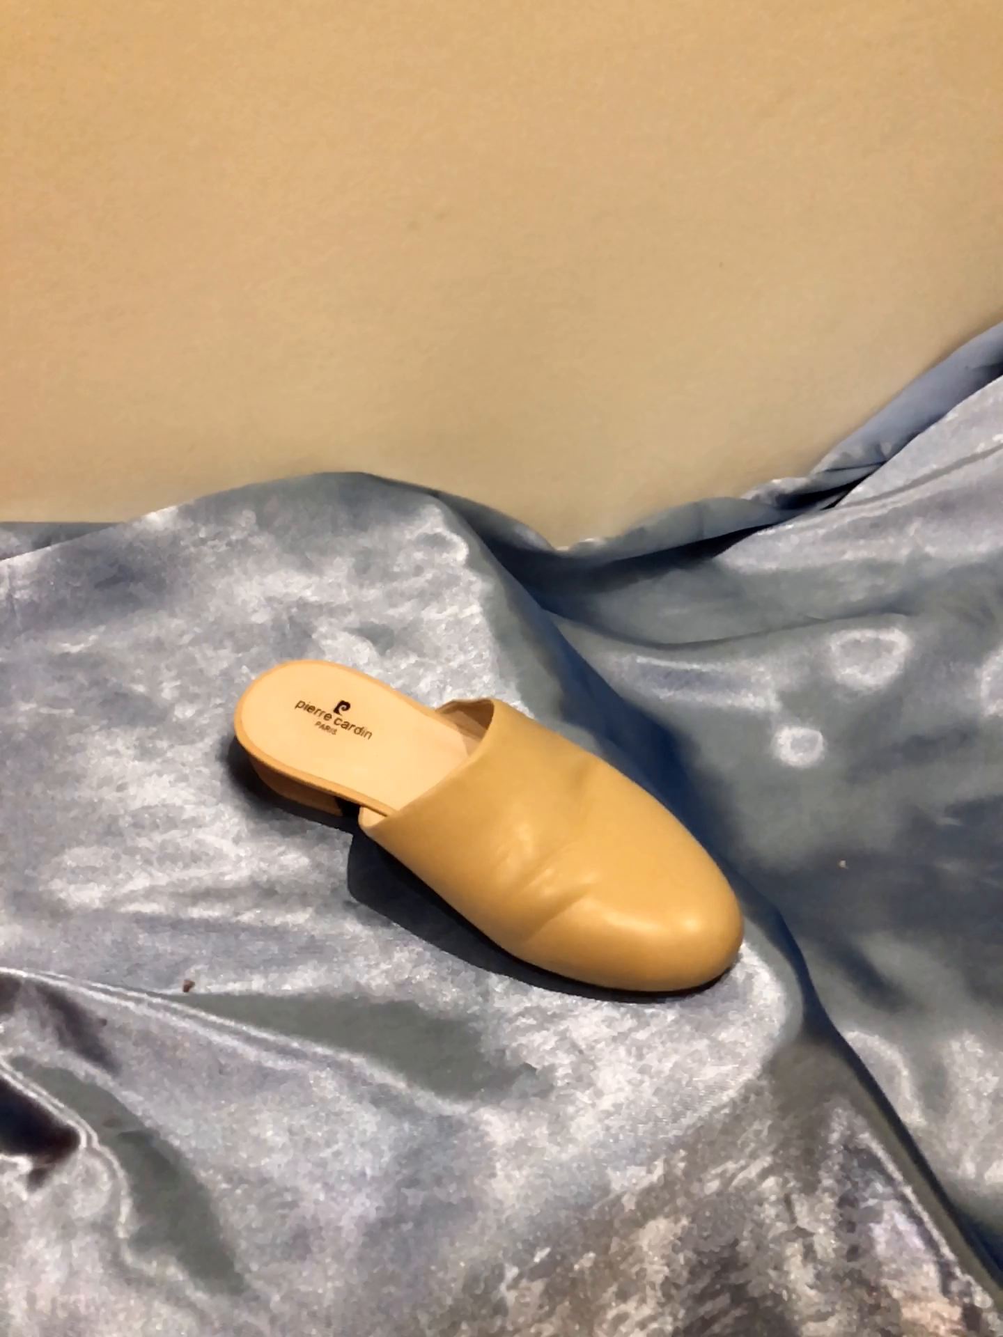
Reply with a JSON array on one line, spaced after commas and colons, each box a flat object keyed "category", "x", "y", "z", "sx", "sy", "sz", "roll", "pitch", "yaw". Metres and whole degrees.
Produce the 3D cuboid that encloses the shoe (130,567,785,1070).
[{"category": "shoe", "x": -0.026, "y": 0.047, "z": 0.461, "sx": 0.261, "sy": 0.060, "sz": 0.096, "roll": 24, "pitch": 47, "yaw": 28}]
